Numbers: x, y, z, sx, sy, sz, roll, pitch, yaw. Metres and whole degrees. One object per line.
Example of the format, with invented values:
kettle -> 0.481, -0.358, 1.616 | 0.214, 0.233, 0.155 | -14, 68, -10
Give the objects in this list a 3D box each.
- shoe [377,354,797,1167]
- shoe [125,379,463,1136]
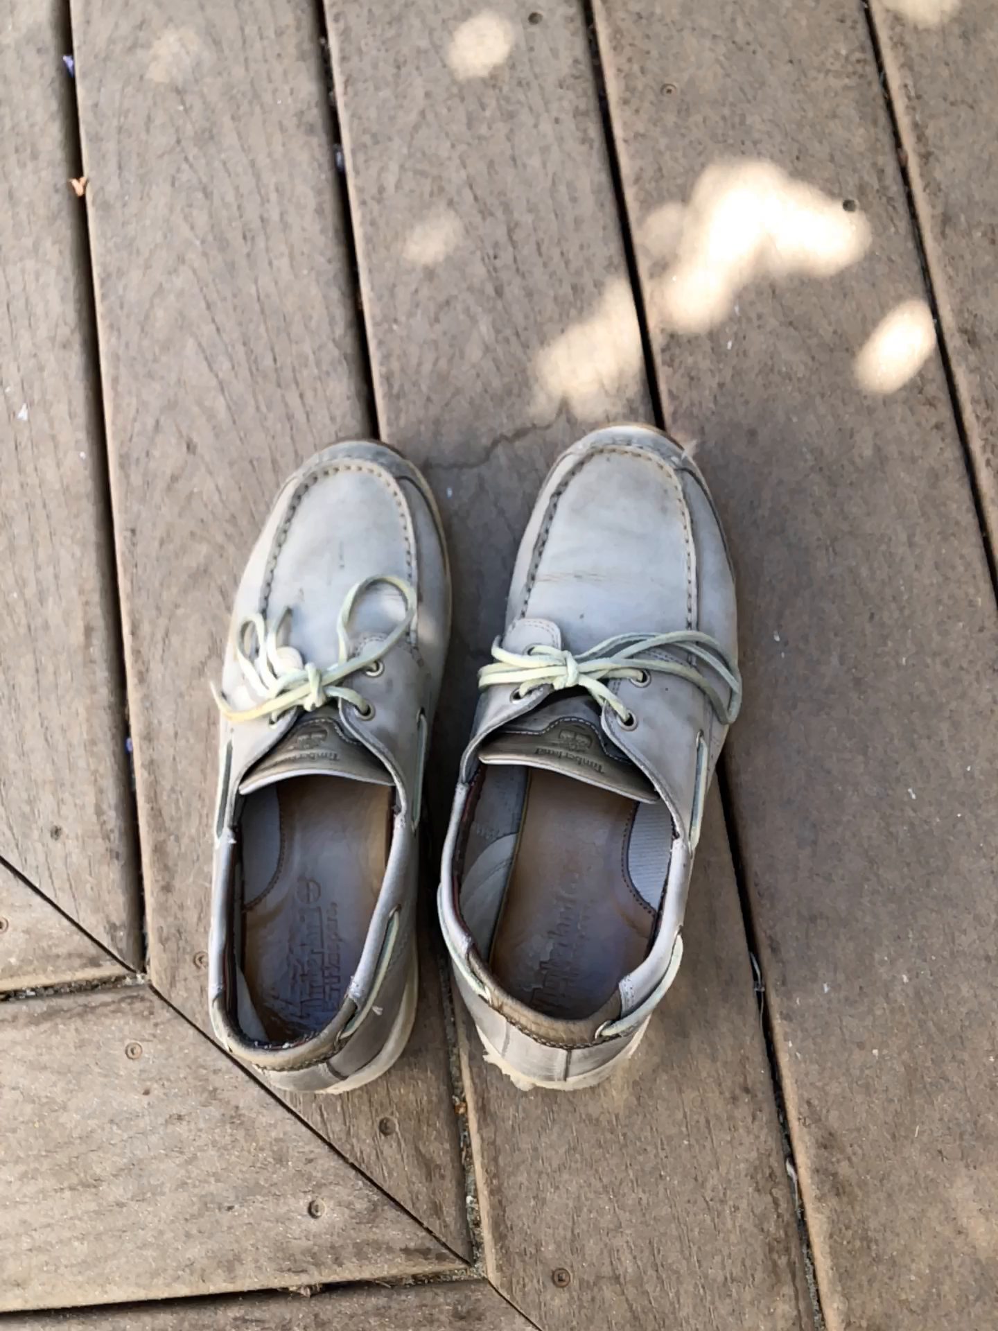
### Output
shoe -> 0.044, 0.035, 0.492 | 0.121, 0.098, 0.312 | 9, 80, 8
shoe -> -0.083, 0.038, 0.505 | 0.119, 0.096, 0.310 | -1, 79, 6
